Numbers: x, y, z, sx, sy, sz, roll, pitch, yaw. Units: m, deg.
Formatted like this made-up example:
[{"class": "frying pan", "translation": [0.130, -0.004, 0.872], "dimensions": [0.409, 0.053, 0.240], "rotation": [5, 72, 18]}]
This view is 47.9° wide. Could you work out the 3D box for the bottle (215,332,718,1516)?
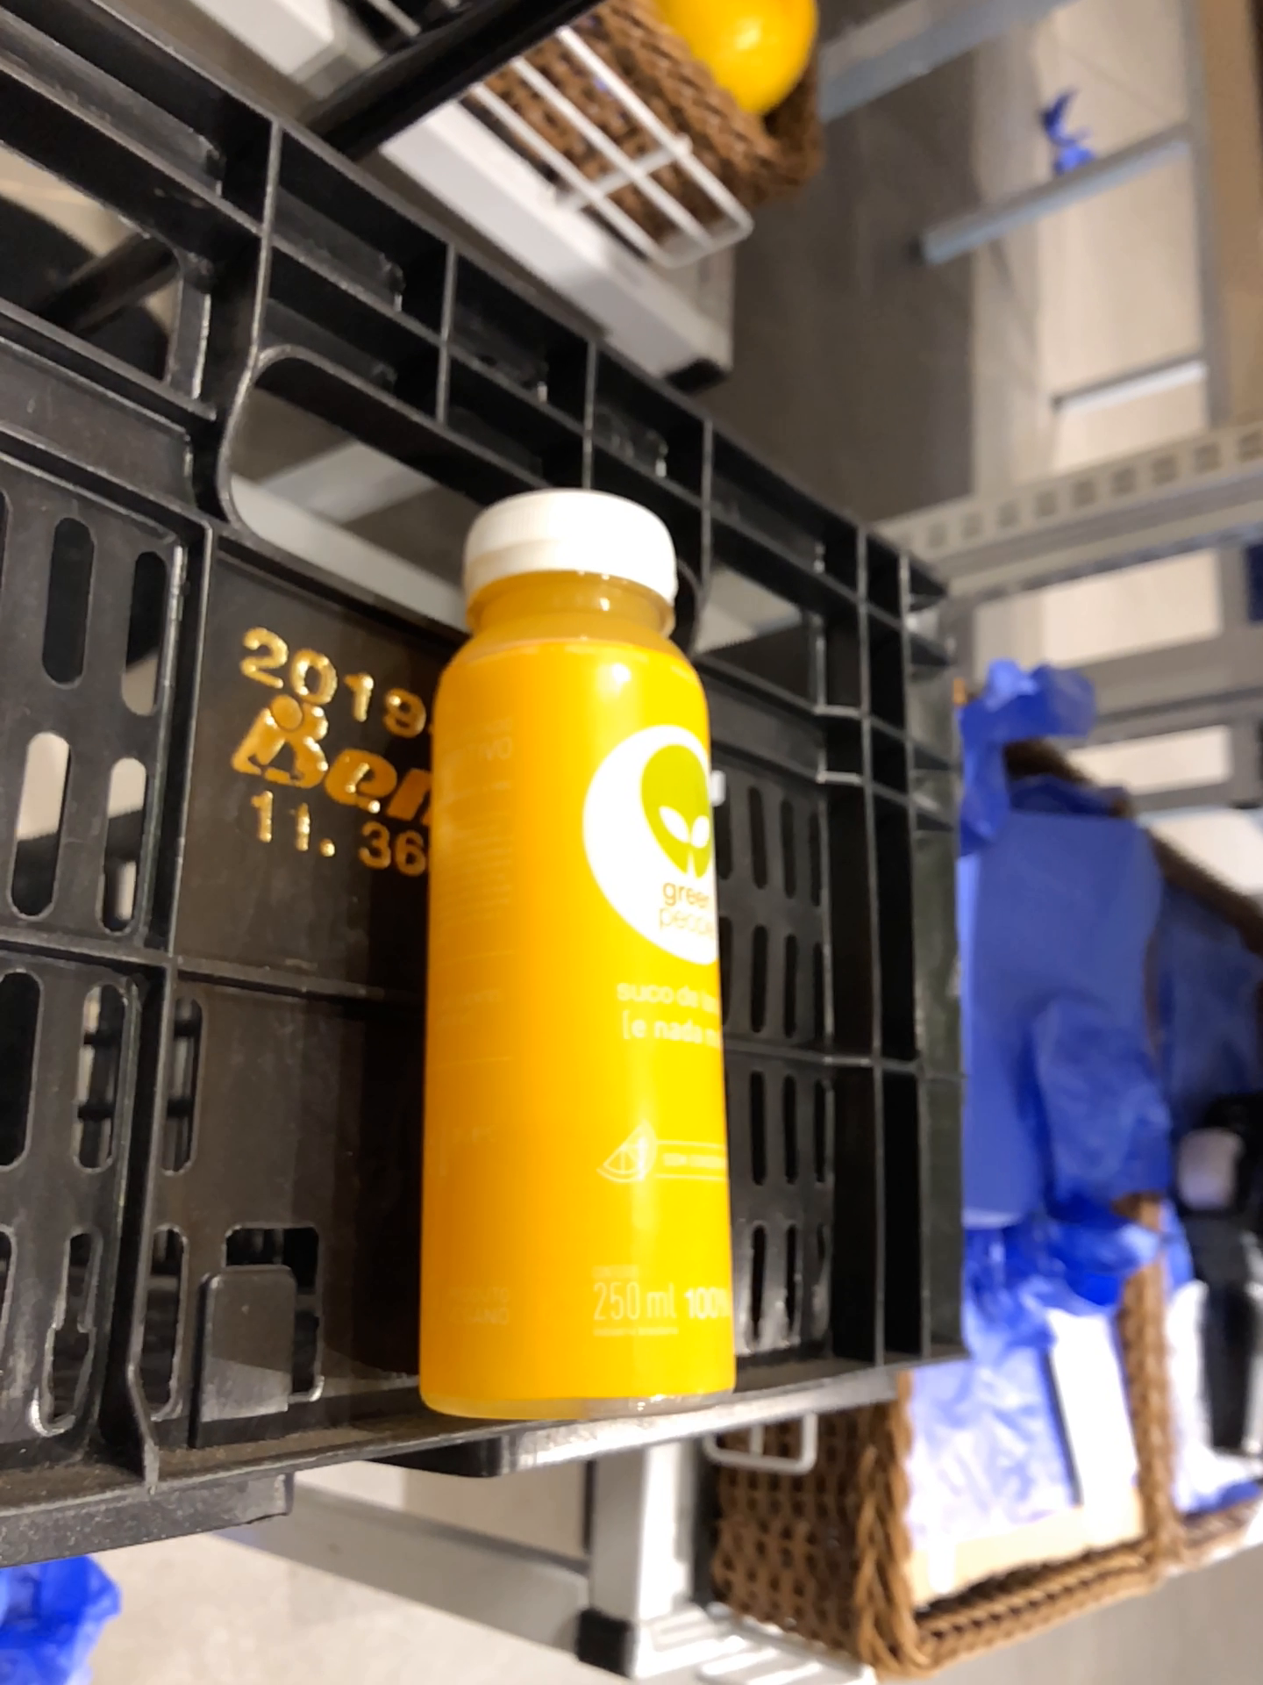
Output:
[{"class": "bottle", "translation": [-0.028, 0.012, 0.248], "dimensions": [0.060, 0.050, 0.180], "rotation": [17, 65, -48]}]
